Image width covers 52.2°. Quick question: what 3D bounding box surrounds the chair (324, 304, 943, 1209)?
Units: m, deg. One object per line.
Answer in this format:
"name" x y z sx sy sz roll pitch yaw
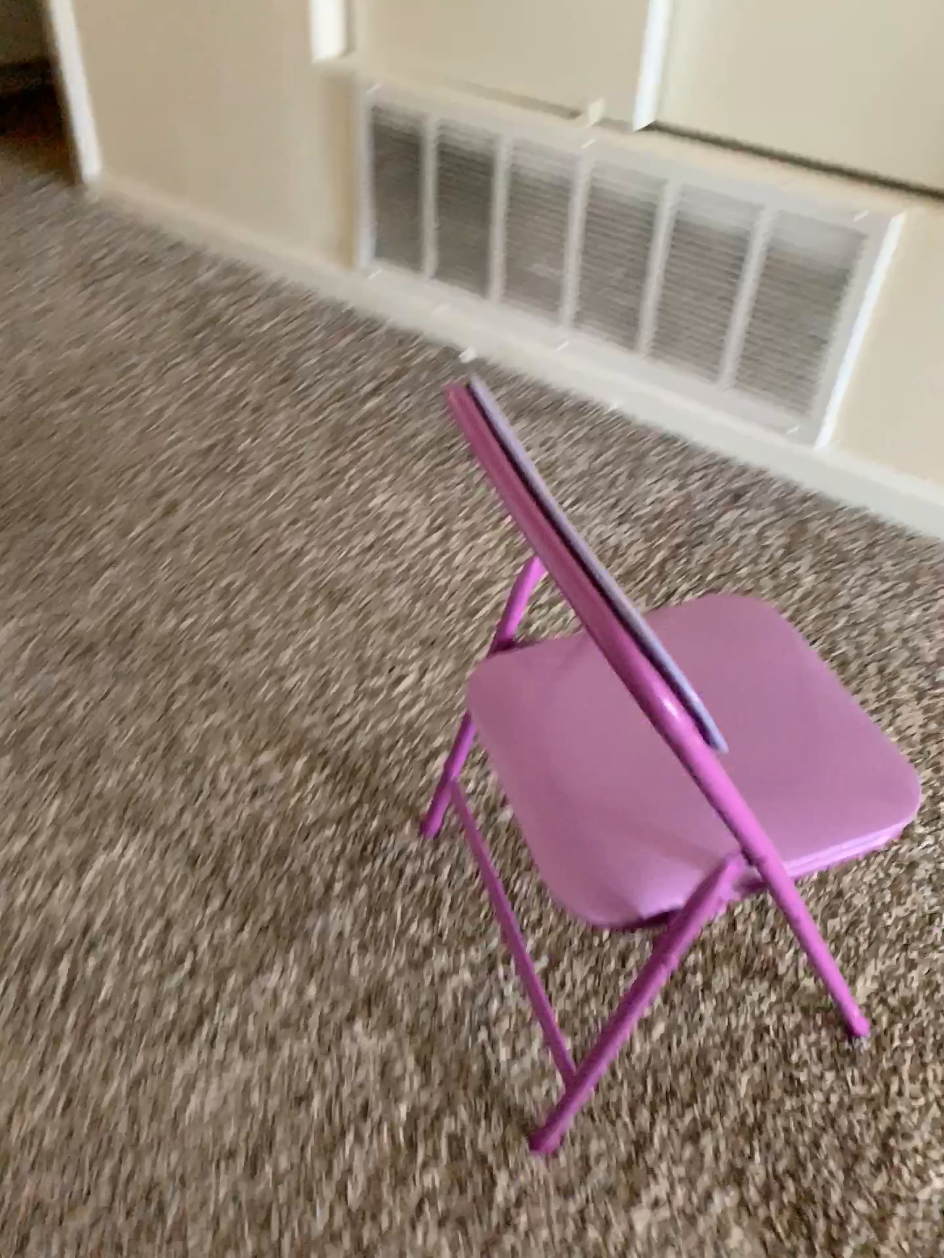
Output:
"chair" 0.135 0.079 0.718 0.390 0.468 0.382 -11 44 -17
